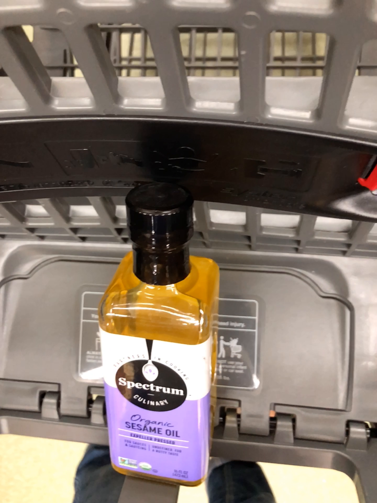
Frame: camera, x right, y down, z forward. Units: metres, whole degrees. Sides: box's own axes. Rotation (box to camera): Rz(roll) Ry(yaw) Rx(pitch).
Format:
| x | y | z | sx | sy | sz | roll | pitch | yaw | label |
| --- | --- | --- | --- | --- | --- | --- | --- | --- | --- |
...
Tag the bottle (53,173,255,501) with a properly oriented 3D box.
| x | y | z | sx | sy | sz | roll | pitch | yaw | label |
| --- | --- | --- | --- | --- | --- | --- | --- | --- | --- |
| -0.012 | 0.062 | 0.252 | 0.080 | 0.065 | 0.201 | 6 | 127 | 6 | bottle |
